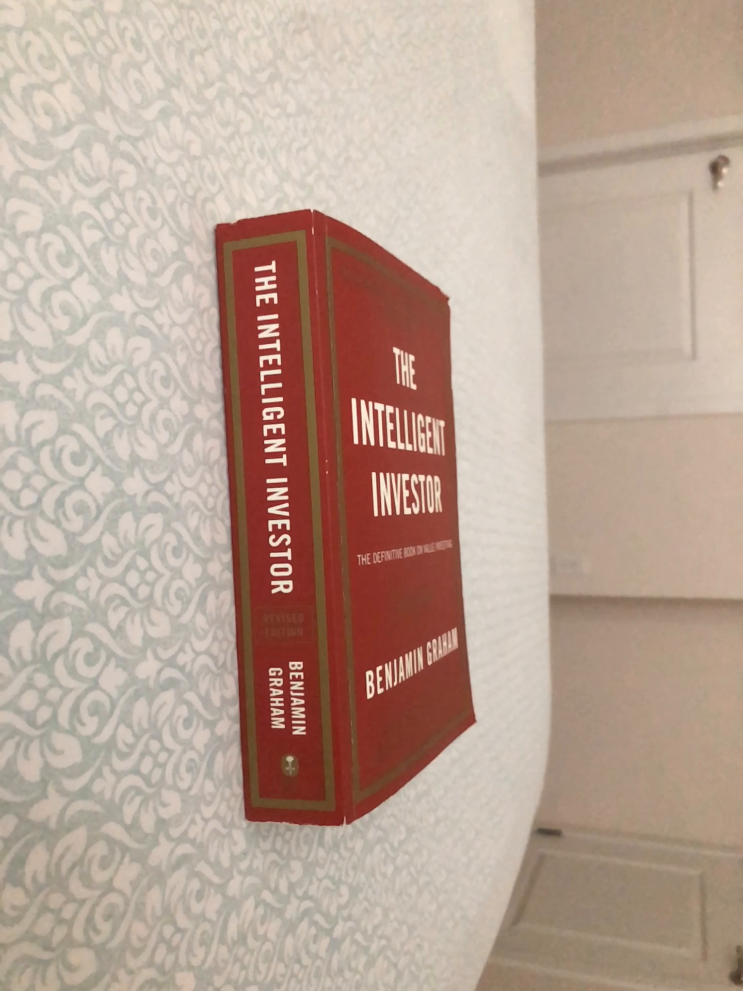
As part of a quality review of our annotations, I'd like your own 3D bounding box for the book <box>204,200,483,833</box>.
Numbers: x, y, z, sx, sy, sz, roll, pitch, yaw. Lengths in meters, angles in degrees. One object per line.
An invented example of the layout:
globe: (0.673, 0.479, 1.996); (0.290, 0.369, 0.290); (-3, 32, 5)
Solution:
book: (-0.003, 0.007, 0.331); (0.131, 0.050, 0.200); (-2, 89, -66)
